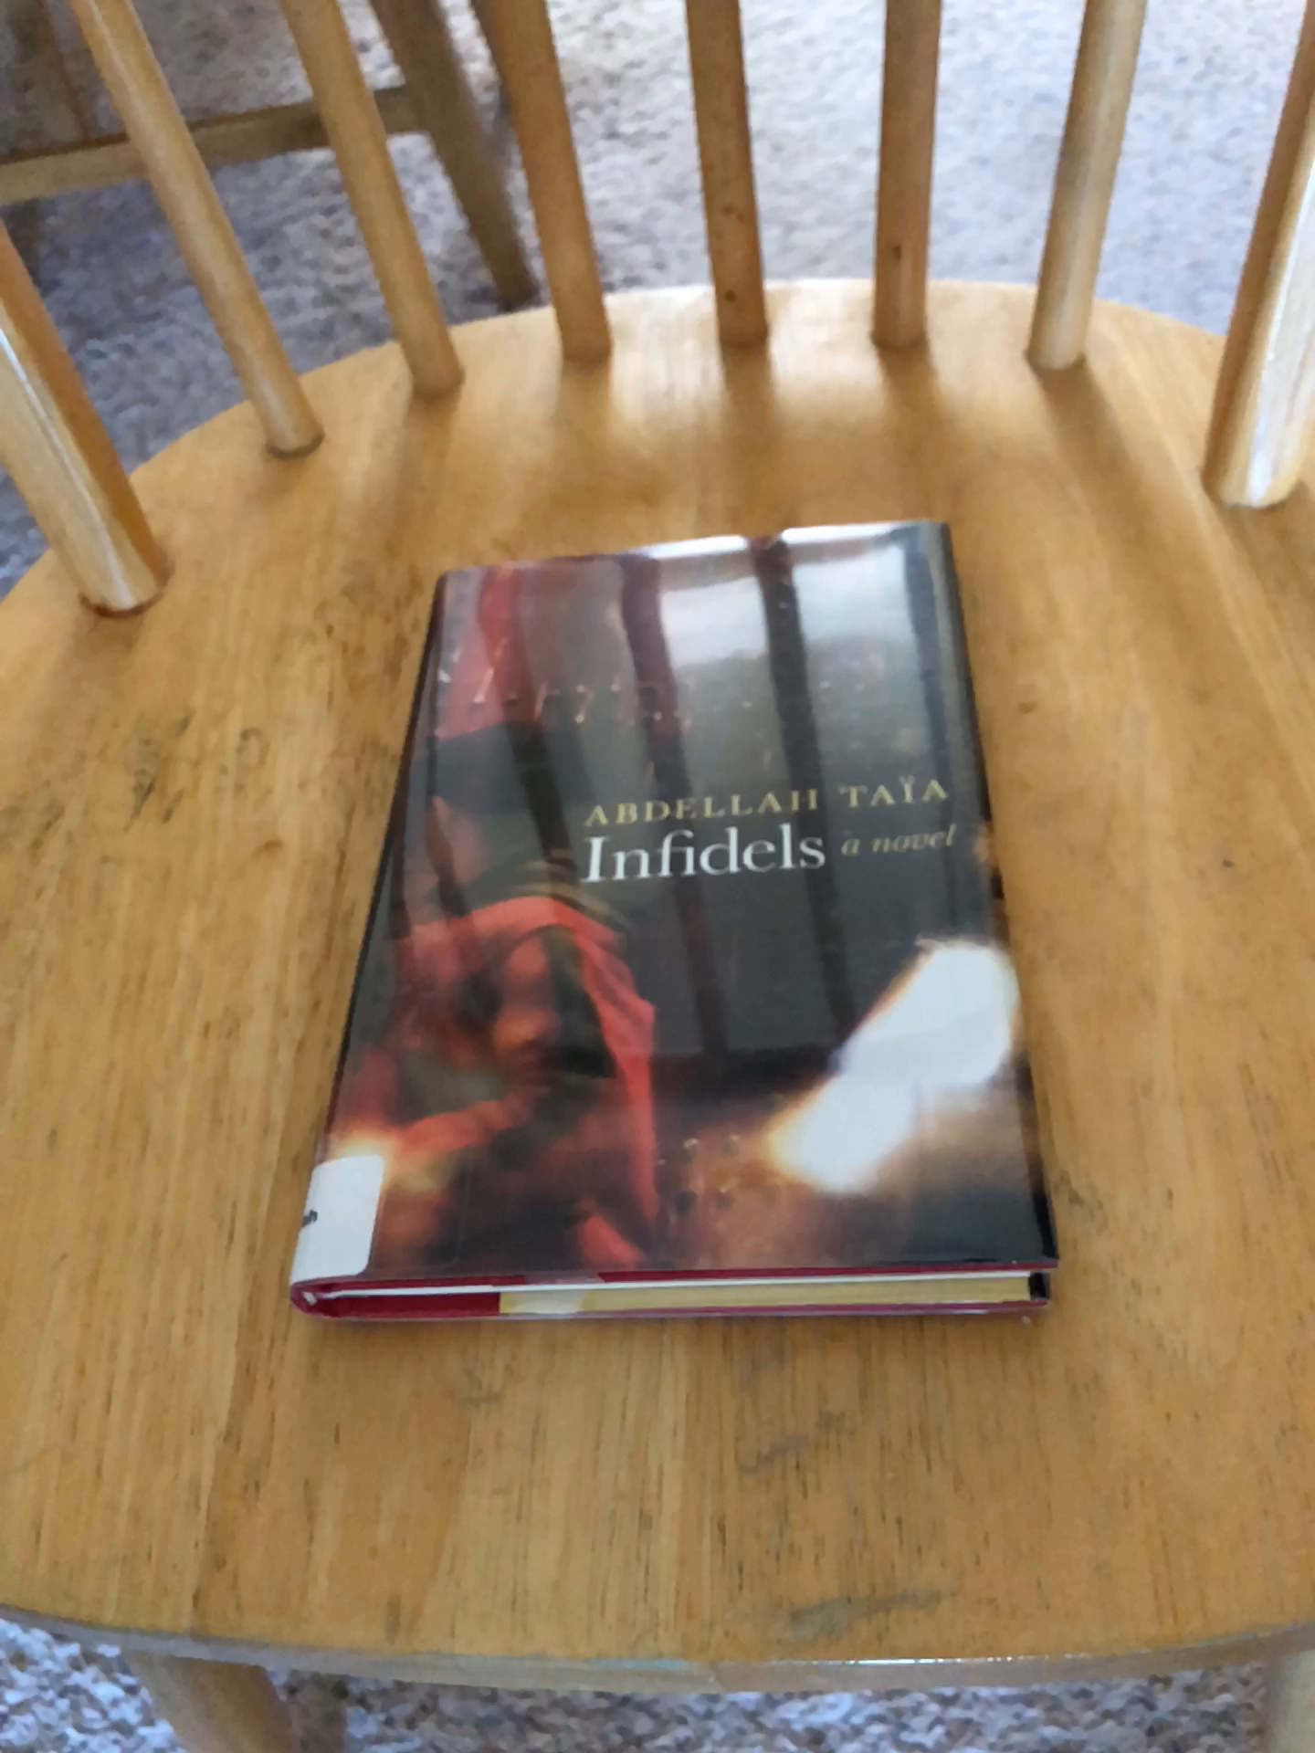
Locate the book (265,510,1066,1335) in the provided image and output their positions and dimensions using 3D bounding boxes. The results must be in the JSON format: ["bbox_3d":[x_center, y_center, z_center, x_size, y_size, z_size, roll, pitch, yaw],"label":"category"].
[{"bbox_3d":[0.006,-0.004,0.337,0.143,0.020,0.217,-4,48,9],"label":"book"}]
